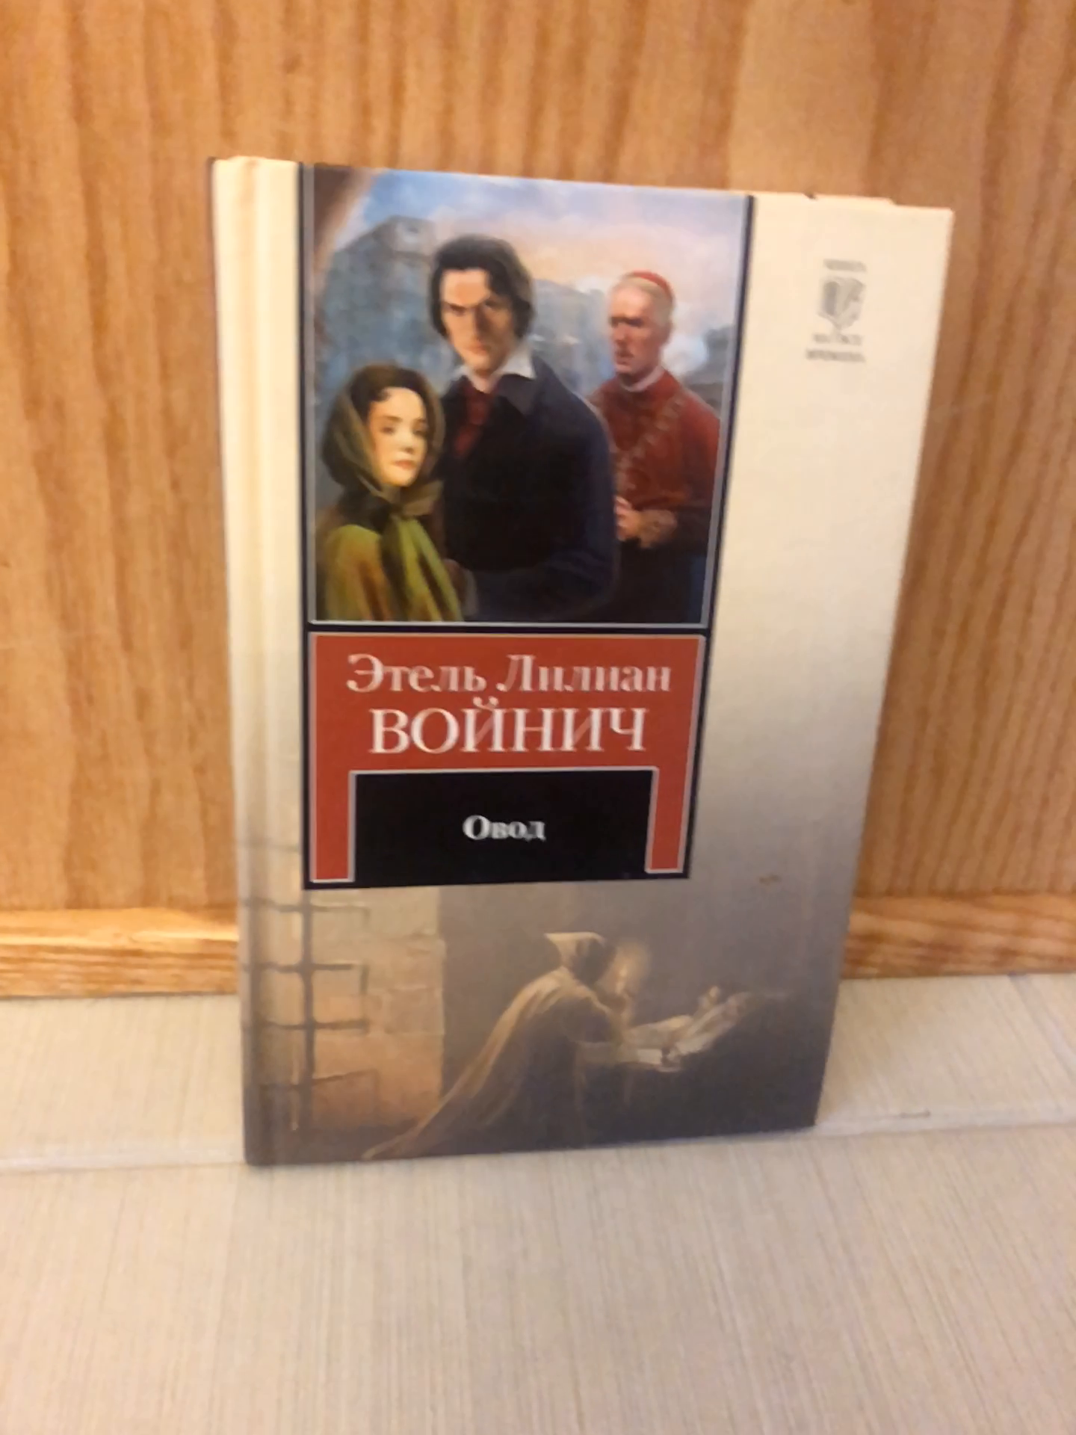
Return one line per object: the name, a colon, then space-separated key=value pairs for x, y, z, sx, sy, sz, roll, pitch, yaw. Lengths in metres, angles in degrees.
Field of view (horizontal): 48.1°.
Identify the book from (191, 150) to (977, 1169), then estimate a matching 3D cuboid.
book: x=0.005 y=-0.003 z=0.256 sx=0.139 sy=0.203 sz=0.030 roll=0 pitch=19 yaw=-9
